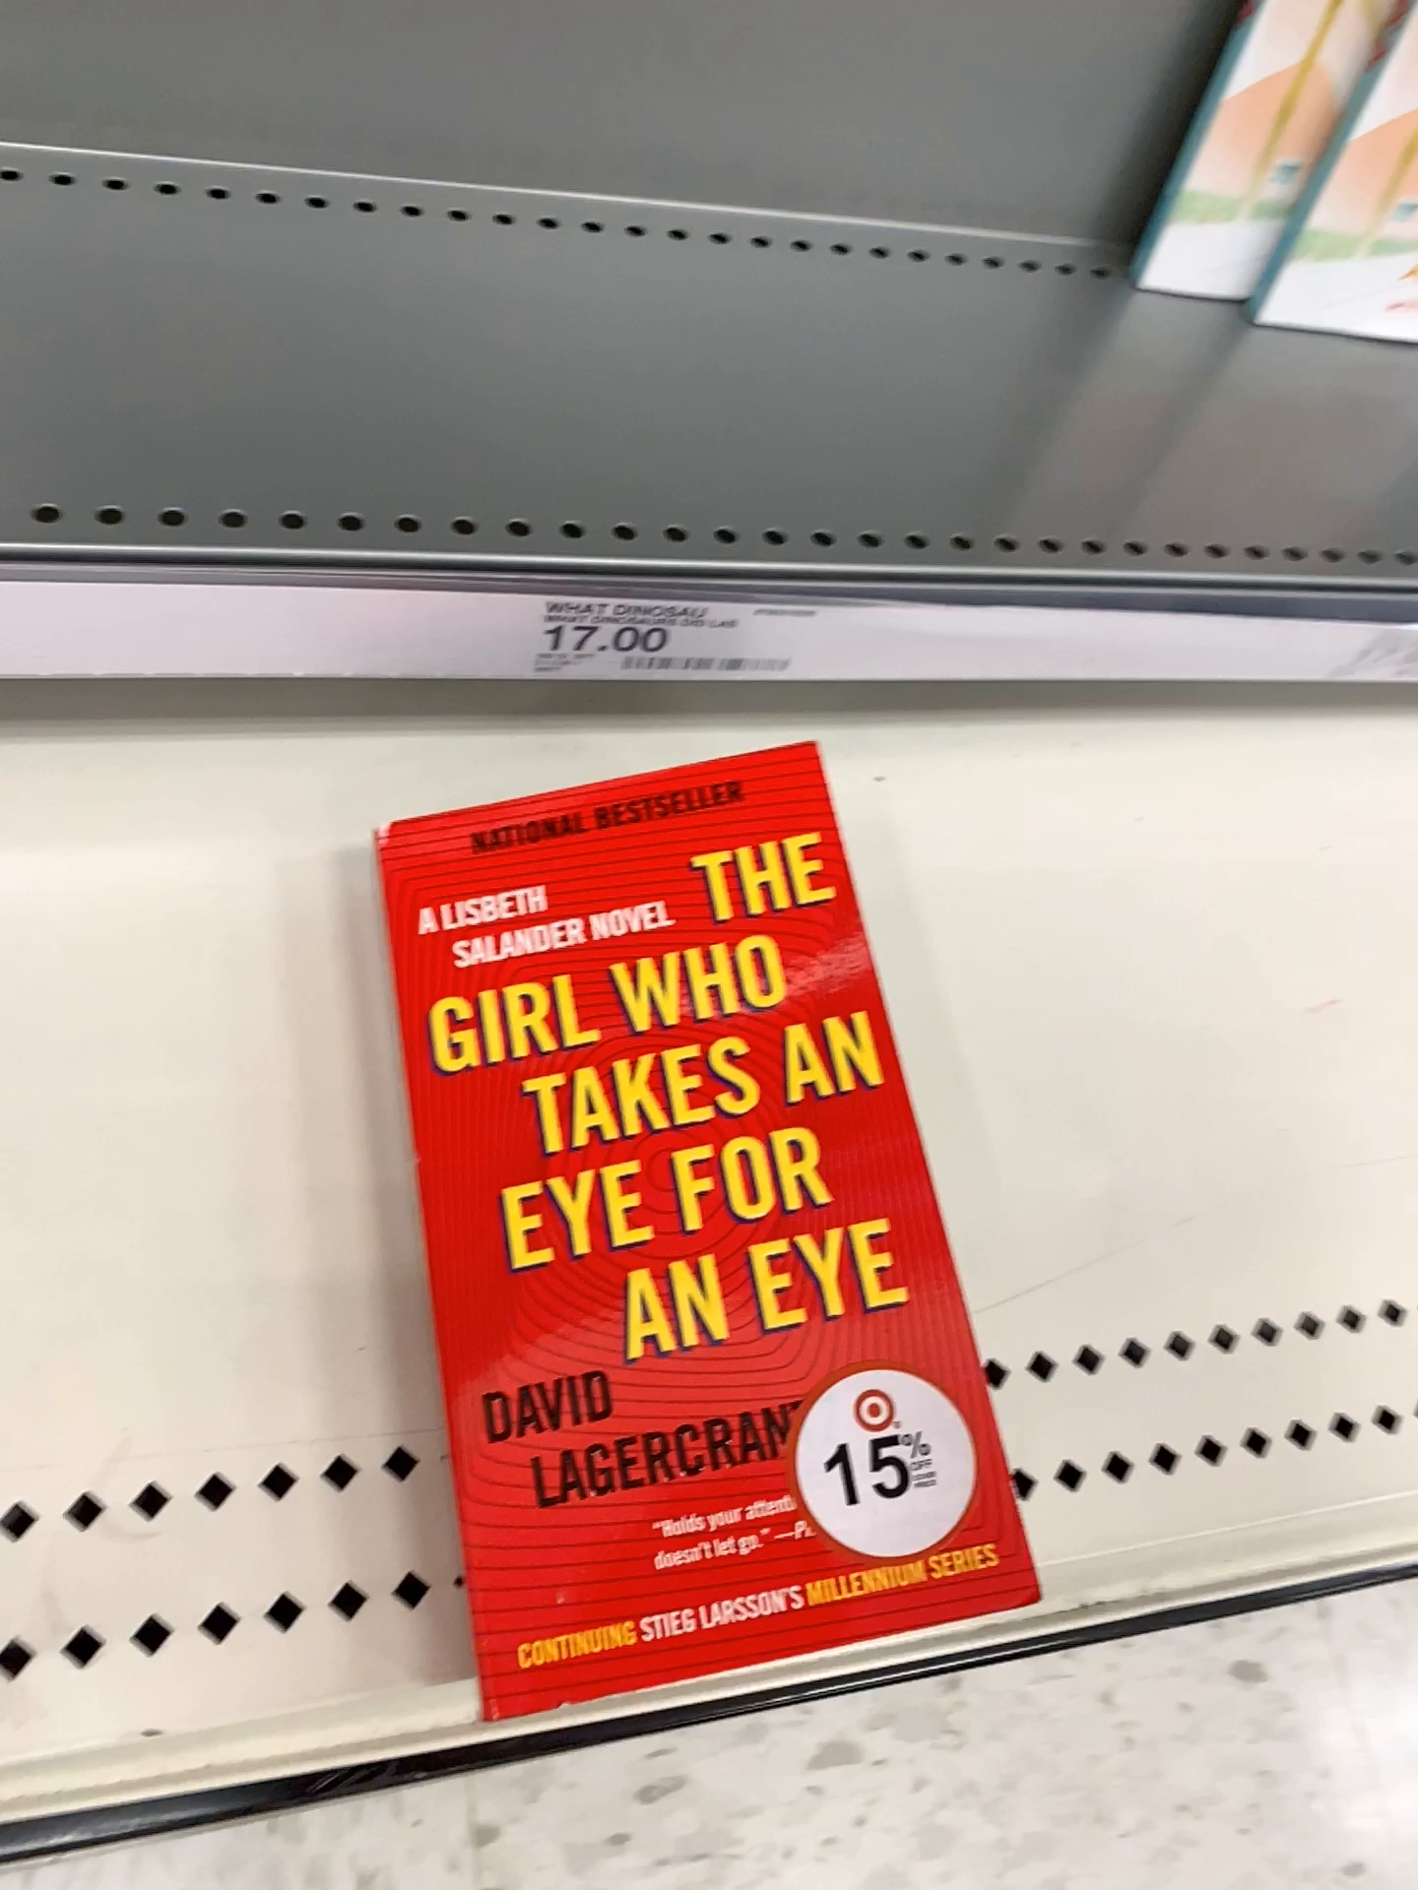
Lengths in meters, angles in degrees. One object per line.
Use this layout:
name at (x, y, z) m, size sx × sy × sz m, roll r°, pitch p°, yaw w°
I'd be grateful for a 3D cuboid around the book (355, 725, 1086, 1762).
book at (-0.008, 0.052, 0.322) m, size 0.115 × 0.046 × 0.200 m, roll -6°, pitch 67°, yaw -16°
